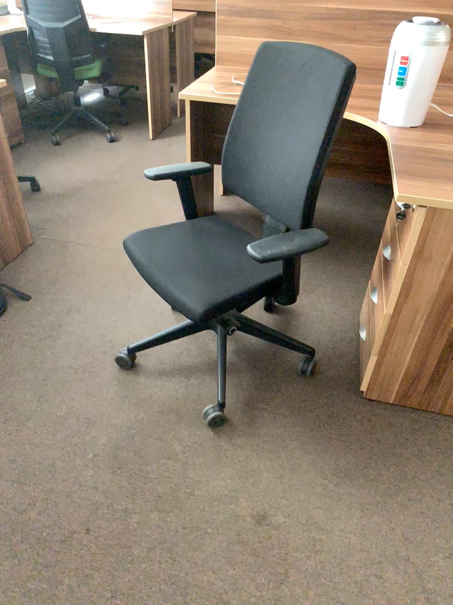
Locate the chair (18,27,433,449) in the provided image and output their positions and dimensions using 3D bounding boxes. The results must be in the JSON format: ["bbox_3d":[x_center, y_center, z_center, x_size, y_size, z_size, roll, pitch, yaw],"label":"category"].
[{"bbox_3d":[-0.028,-0.255,1.420,0.791,0.915,0.672,-22,43,-28],"label":"chair"}]
